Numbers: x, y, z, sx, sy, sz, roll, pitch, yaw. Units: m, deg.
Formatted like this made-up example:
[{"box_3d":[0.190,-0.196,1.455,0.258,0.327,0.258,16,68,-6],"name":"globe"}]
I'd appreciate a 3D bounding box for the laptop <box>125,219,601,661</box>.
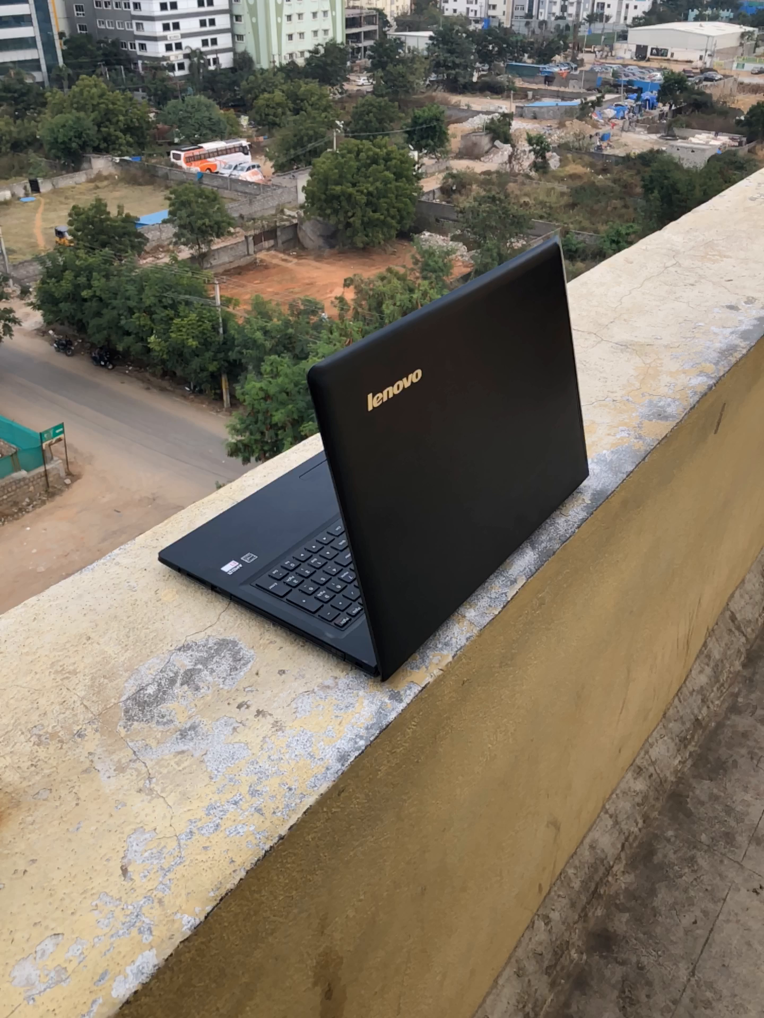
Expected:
[{"box_3d":[-0.003,-0.092,0.763,0.245,0.223,0.335,22,41,30],"name":"laptop"}]
